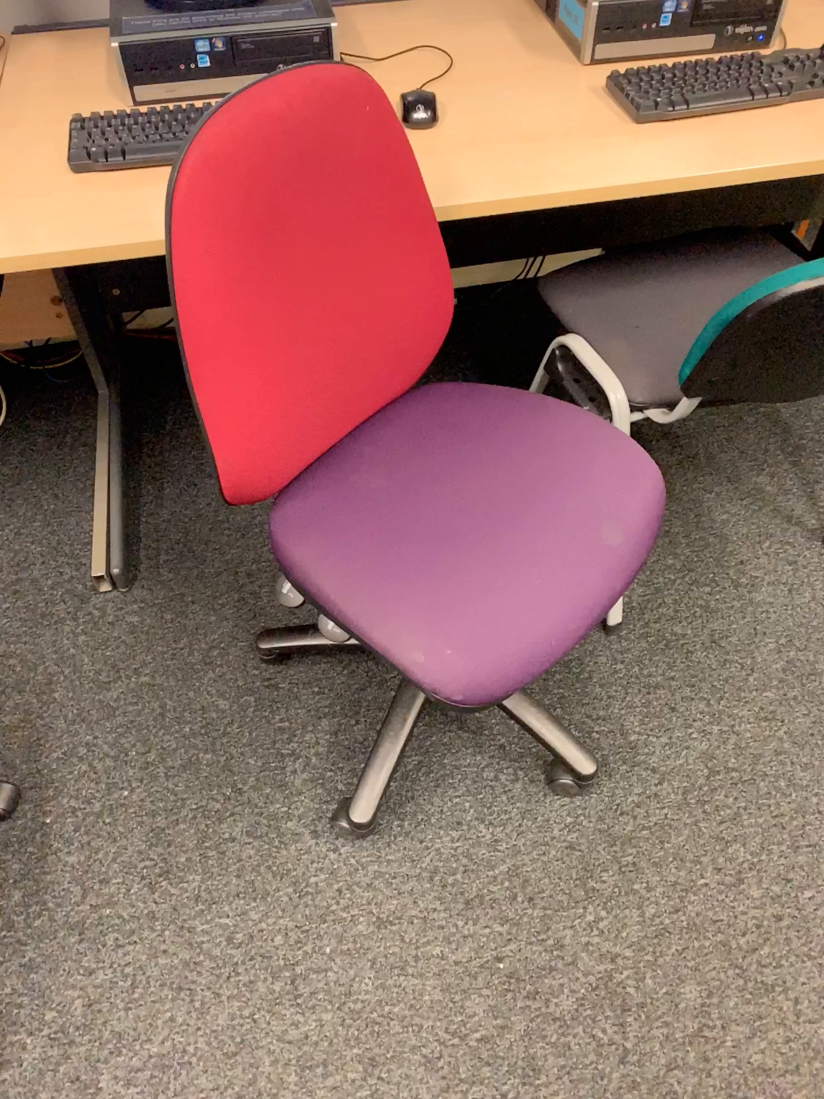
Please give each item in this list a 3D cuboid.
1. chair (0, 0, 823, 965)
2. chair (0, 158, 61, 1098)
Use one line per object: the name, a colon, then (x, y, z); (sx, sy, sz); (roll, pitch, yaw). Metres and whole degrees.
chair: (0.052, -0.074, 1.060); (0.601, 0.869, 0.656); (34, 58, 27)
chair: (-0.795, 0.221, 0.797); (0.598, 0.829, 0.608); (-14, 51, -11)
